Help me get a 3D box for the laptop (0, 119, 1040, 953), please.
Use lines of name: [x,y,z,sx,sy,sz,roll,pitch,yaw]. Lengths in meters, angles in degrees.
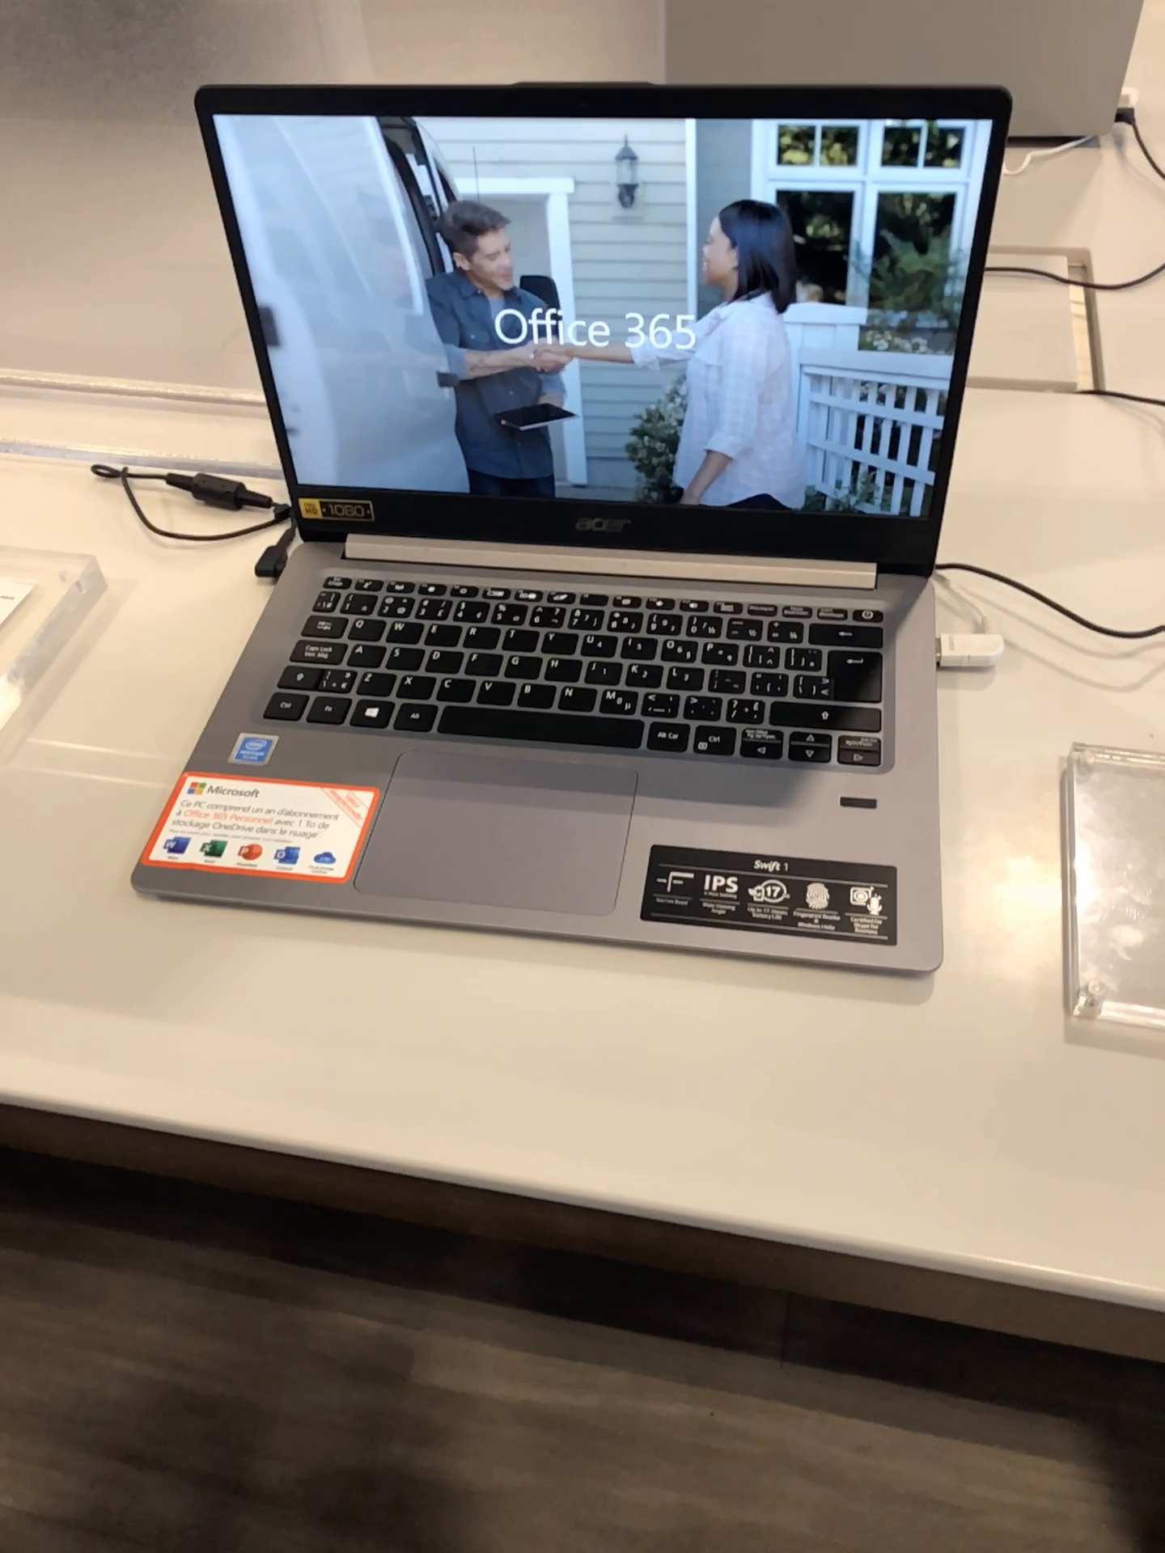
laptop: [-0.010,-0.098,0.493,0.306,0.205,0.225,5,49,8]
